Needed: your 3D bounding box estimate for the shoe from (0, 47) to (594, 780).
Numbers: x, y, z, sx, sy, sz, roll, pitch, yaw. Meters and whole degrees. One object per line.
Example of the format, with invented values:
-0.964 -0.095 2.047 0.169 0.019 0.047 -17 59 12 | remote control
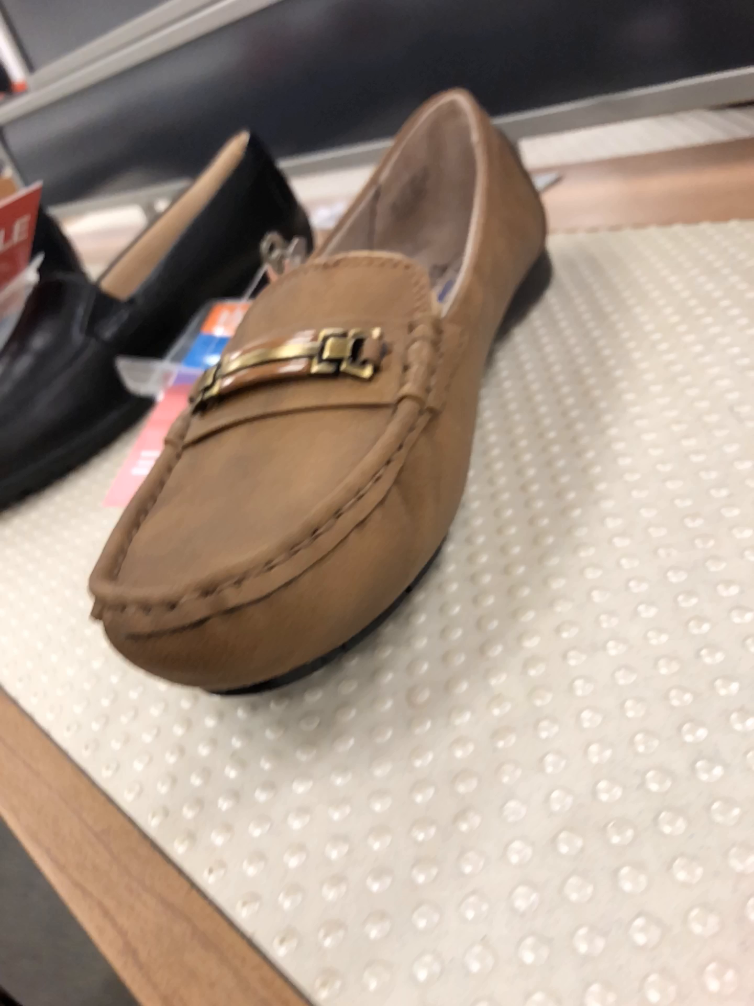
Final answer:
-0.003 -0.048 0.238 0.087 0.079 0.236 -7 33 26 | shoe
